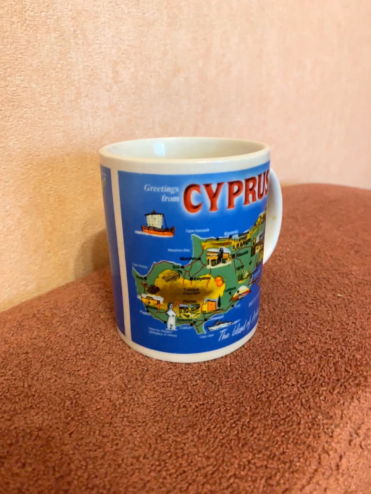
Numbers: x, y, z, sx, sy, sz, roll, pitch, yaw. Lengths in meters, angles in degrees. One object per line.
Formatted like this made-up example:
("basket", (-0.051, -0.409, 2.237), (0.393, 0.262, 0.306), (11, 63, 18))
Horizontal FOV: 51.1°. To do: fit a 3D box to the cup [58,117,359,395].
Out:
("cup", (0.015, -0.012, 0.202), (0.119, 0.091, 0.085), (-22, 32, -40))
